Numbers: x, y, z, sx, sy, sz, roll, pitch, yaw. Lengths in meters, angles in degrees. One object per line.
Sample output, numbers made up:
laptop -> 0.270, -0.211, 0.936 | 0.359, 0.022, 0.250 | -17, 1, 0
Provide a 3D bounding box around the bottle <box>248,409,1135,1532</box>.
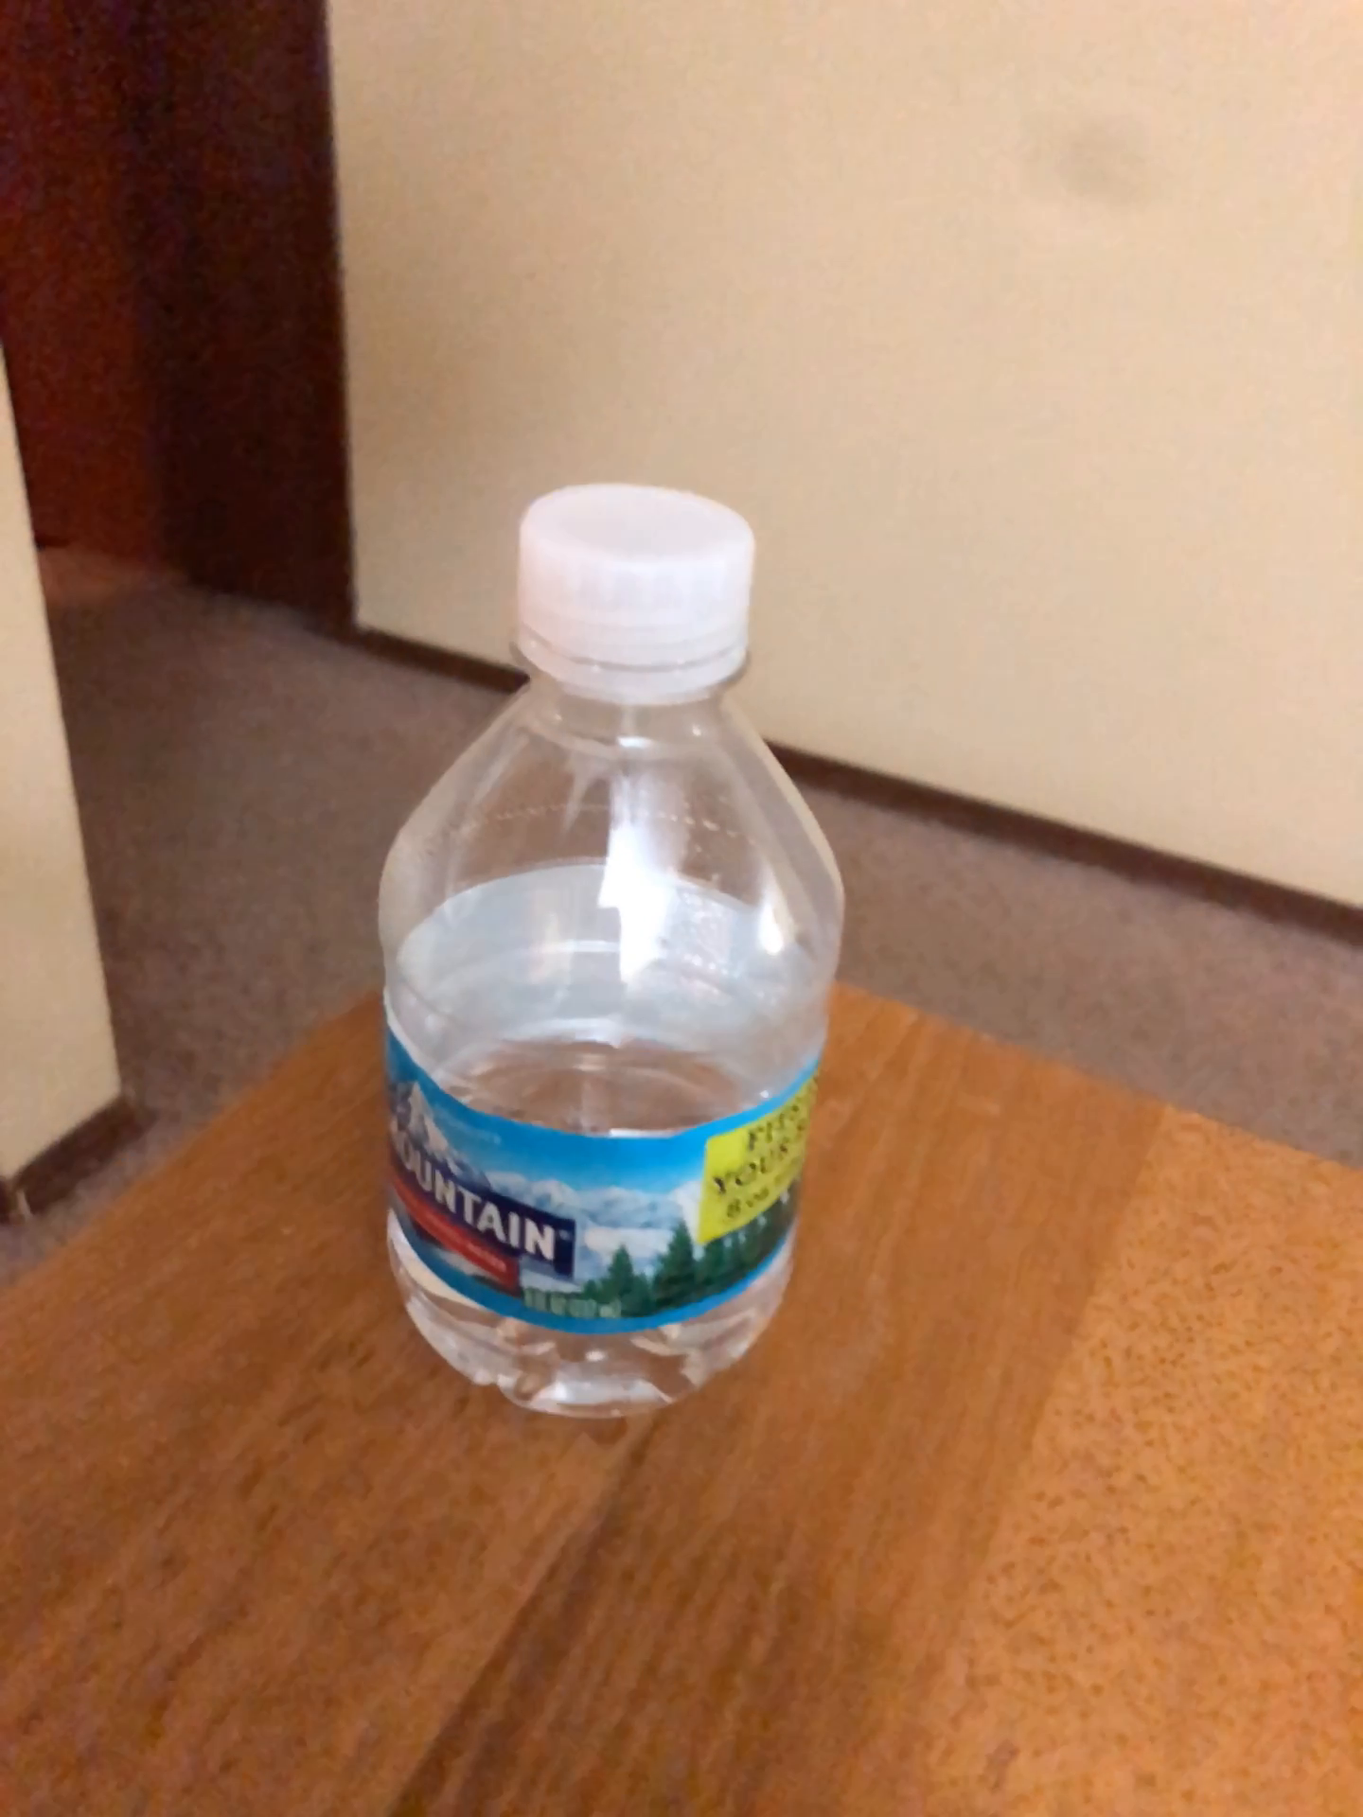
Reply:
bottle -> -0.004, 0.004, 0.198 | 0.070, 0.110, 0.070 | 3, 33, -2
